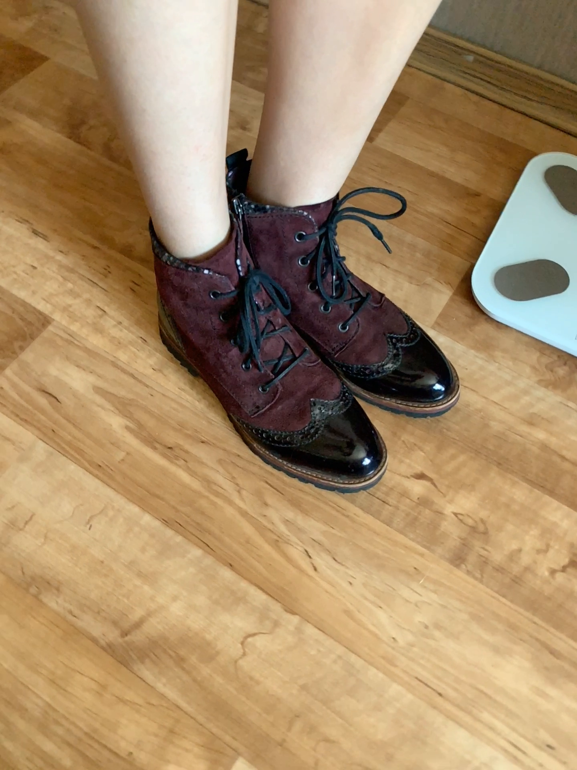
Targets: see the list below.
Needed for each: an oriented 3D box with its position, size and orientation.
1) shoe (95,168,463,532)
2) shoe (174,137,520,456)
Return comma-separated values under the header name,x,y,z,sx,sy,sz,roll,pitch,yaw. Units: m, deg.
name,x,y,z,sx,sy,sz,roll,pitch,yaw
shoe,-0.016,-0.027,0.472,0.260,0.140,0.100,40,66,17
shoe,0.038,-0.076,0.519,0.260,0.140,0.100,35,65,15
